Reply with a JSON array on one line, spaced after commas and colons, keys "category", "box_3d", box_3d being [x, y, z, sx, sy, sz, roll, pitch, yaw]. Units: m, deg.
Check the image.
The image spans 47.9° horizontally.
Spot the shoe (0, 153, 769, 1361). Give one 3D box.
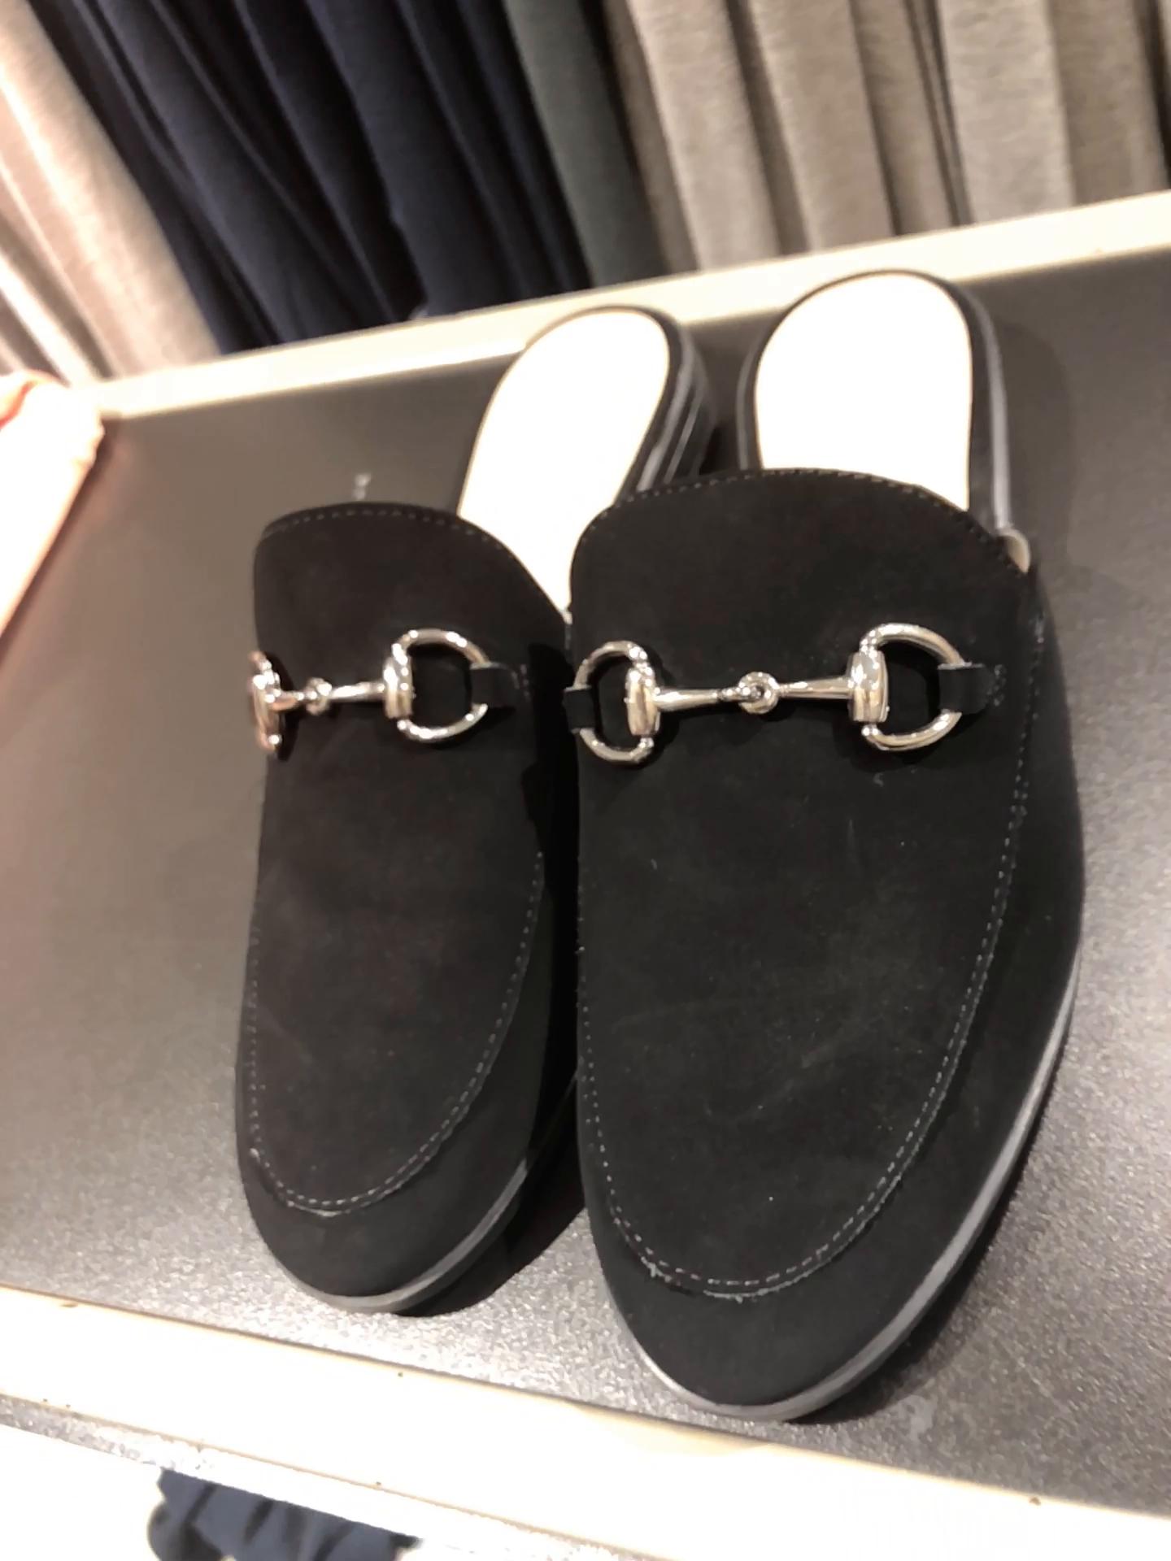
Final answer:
[{"category": "shoe", "box_3d": [-0.029, -0.010, 0.273, 0.090, 0.080, 0.221, -1, 64, 25]}]

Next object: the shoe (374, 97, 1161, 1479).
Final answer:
[{"category": "shoe", "box_3d": [0.045, -0.012, 0.232, 0.090, 0.070, 0.221, -3, 57, 23]}]
